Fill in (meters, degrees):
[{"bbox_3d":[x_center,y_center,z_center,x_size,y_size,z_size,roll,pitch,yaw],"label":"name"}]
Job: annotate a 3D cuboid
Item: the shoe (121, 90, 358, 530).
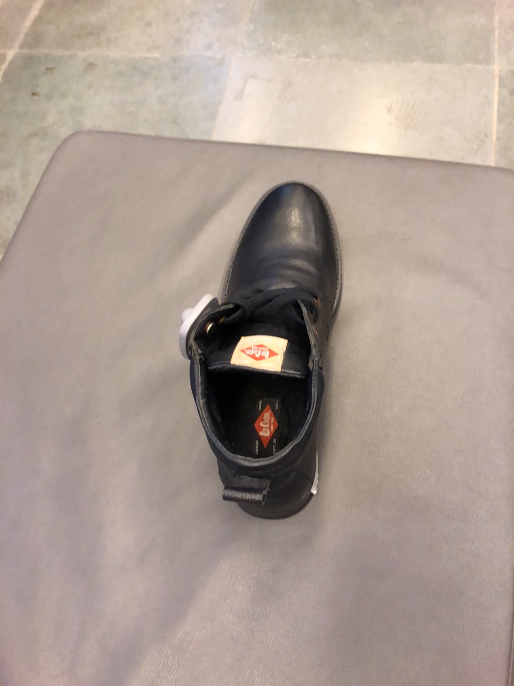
[{"bbox_3d":[0.008,-0.025,0.423,0.111,0.149,0.285,4,66,9],"label":"shoe"}]
